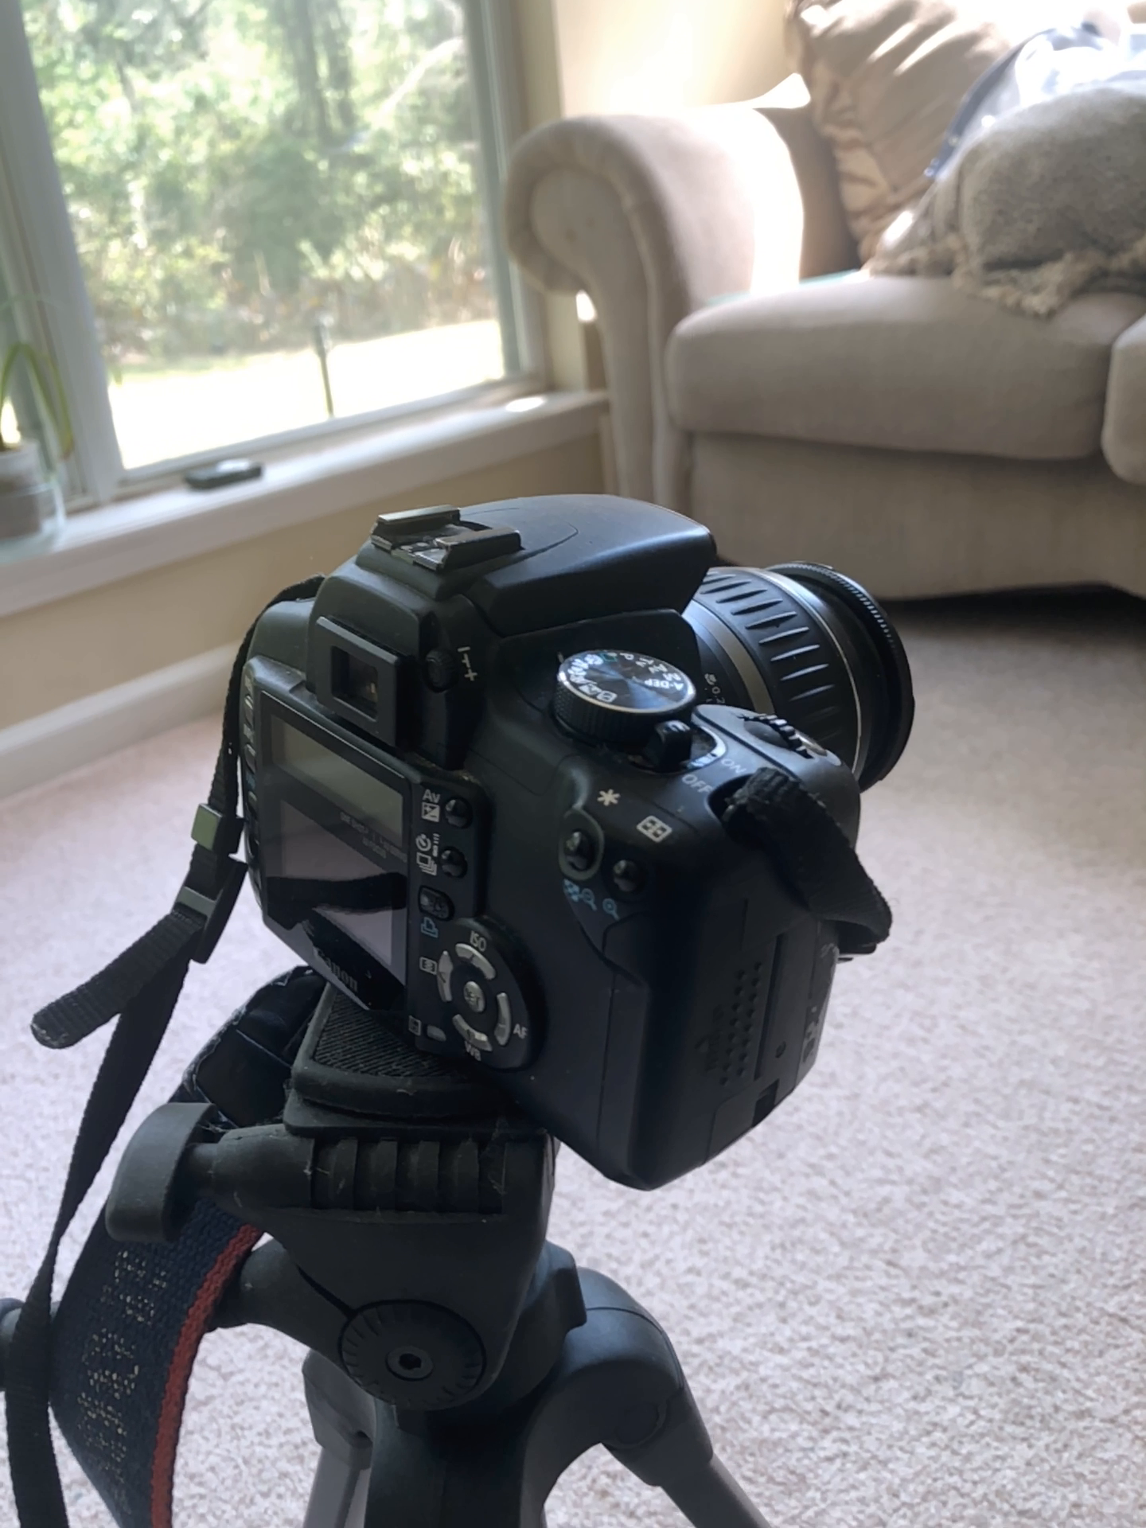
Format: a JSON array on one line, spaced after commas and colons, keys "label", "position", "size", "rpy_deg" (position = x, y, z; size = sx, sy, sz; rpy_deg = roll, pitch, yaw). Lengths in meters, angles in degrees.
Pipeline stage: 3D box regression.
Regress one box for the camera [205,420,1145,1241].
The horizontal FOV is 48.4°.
[{"label": "camera", "position": [0.022, -0.008, 0.269], "size": [0.130, 0.093, 0.142], "rpy_deg": [26, 32, 37]}]
